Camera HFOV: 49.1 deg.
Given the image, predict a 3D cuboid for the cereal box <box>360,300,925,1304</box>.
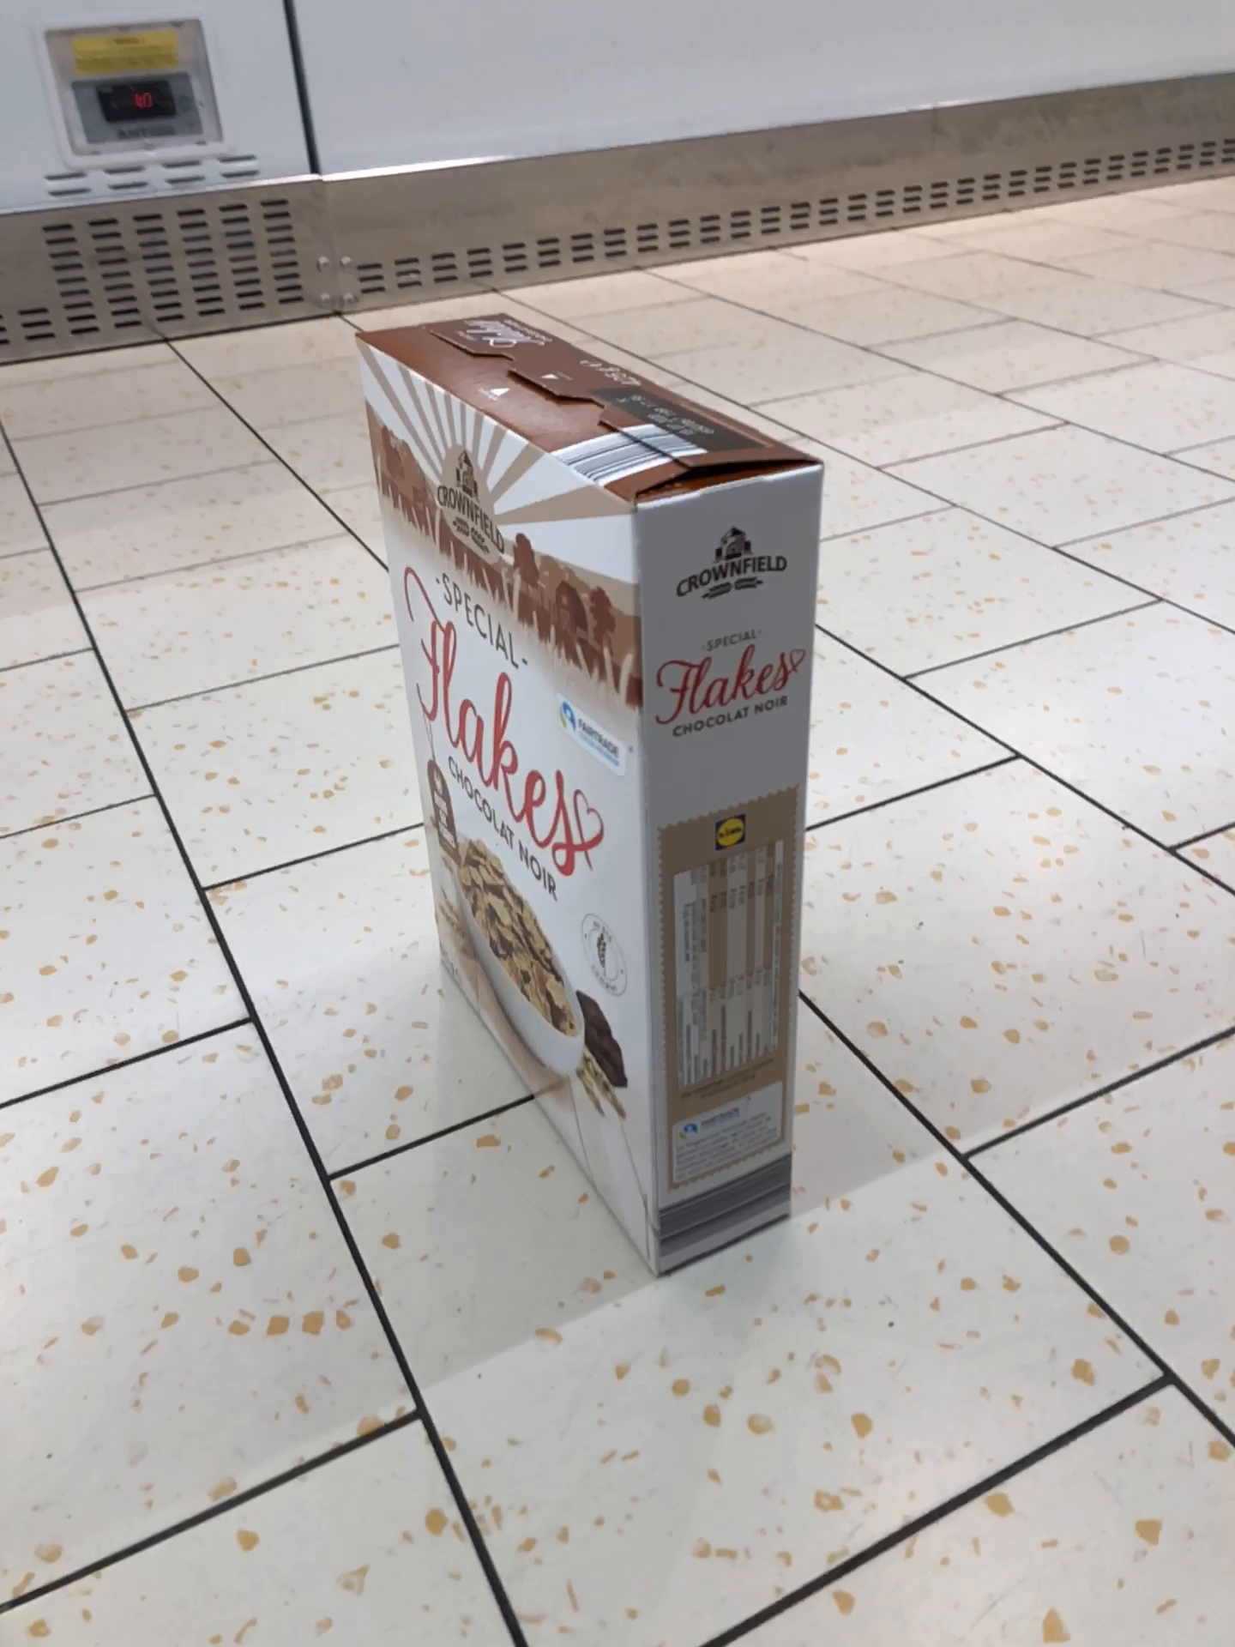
[{"bbox_3d":[0.001,-0.015,0.444,0.070,0.258,0.201,-18,35,-21],"label":"cereal box"}]
